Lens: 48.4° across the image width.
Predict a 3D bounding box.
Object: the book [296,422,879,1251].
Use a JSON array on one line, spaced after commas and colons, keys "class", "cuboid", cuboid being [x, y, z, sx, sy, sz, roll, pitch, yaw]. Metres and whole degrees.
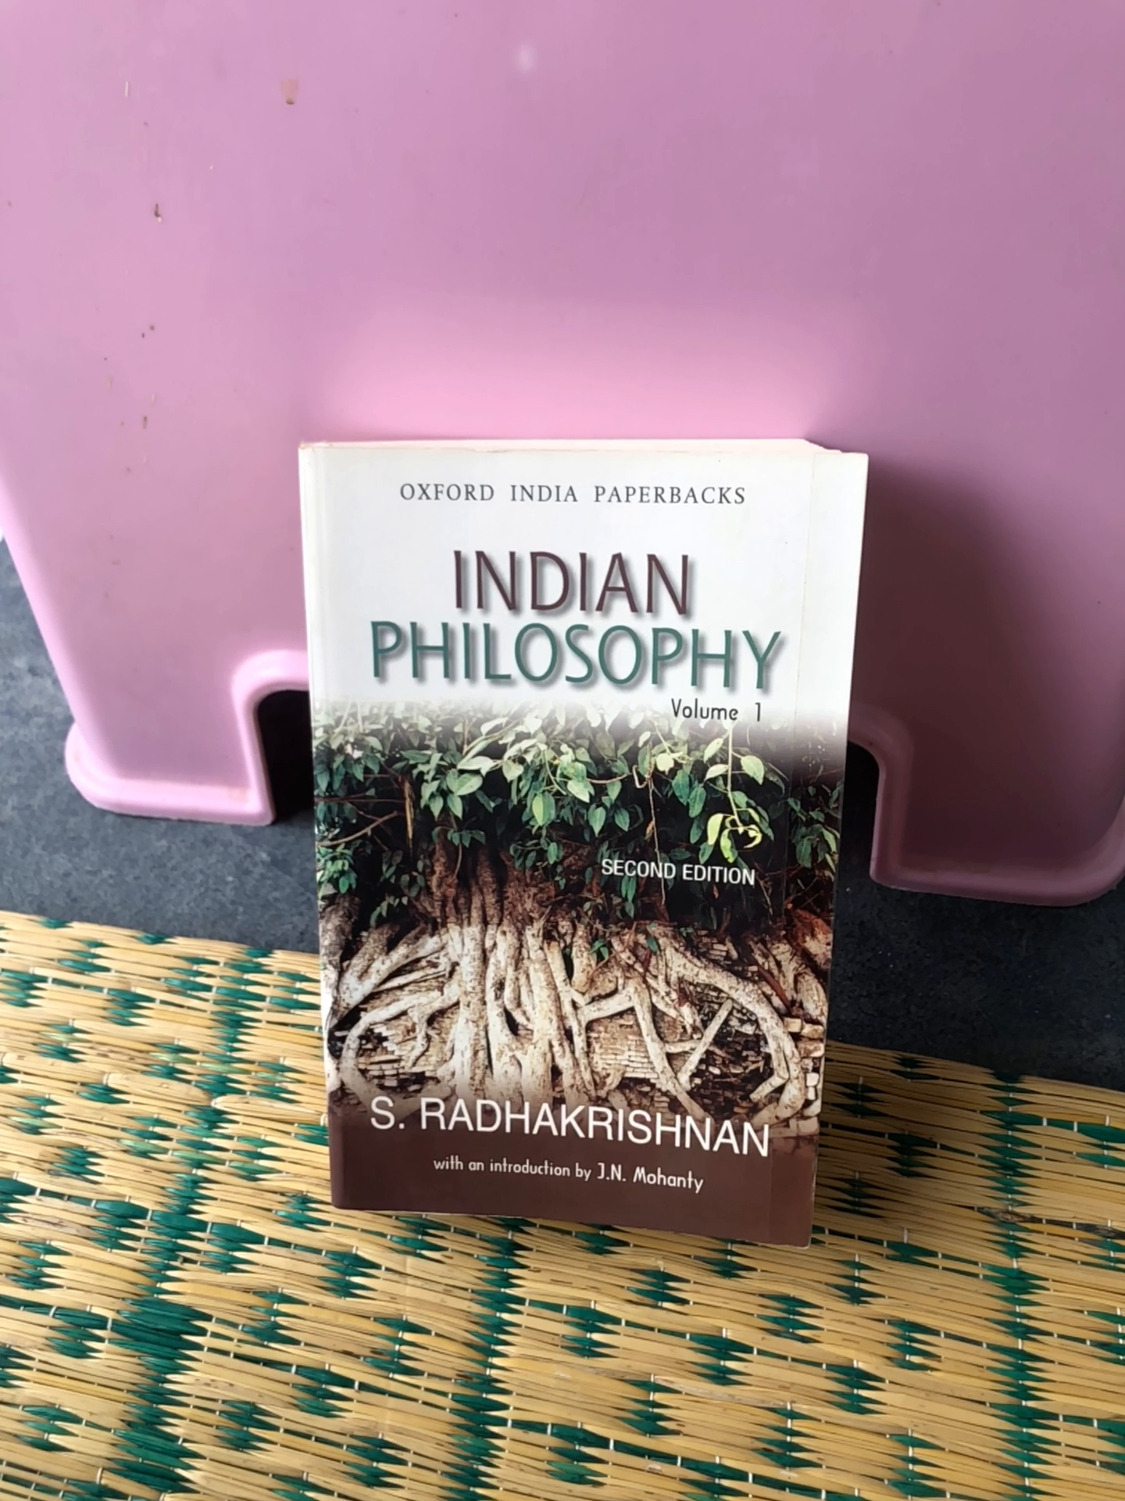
[{"class": "book", "cuboid": [0.005, 0.020, 0.353, 0.140, 0.210, 0.070, 2, 10, 4]}]
